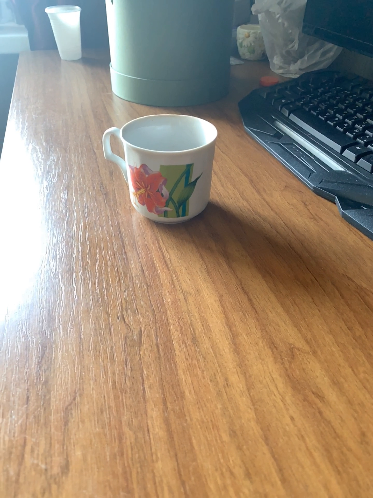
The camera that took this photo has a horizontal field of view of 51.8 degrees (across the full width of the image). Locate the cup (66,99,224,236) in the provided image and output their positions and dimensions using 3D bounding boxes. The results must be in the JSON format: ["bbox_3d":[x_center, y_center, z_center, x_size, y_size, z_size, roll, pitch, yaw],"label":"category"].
[{"bbox_3d":[-0.032,-0.074,0.339,0.110,0.080,0.070,13,39,14],"label":"cup"}]
